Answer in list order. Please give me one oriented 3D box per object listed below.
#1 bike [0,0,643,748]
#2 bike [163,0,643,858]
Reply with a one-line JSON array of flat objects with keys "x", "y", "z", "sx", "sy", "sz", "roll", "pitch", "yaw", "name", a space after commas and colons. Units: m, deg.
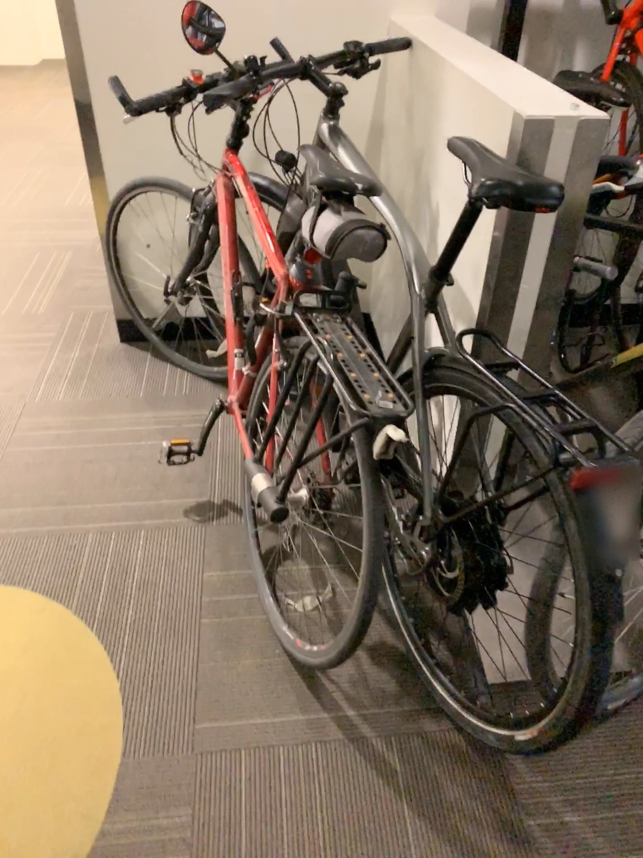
[{"x": -0.218, "y": -0.324, "z": 1.572, "sx": 0.603, "sy": 0.927, "sz": 1.620, "roll": -17, "pitch": 46, "yaw": -22, "name": "bike"}, {"x": 0.282, "y": 0.031, "z": 1.113, "sx": 0.692, "sy": 1.148, "sz": 0.730, "roll": -16, "pitch": 47, "yaw": -21, "name": "bike"}]
